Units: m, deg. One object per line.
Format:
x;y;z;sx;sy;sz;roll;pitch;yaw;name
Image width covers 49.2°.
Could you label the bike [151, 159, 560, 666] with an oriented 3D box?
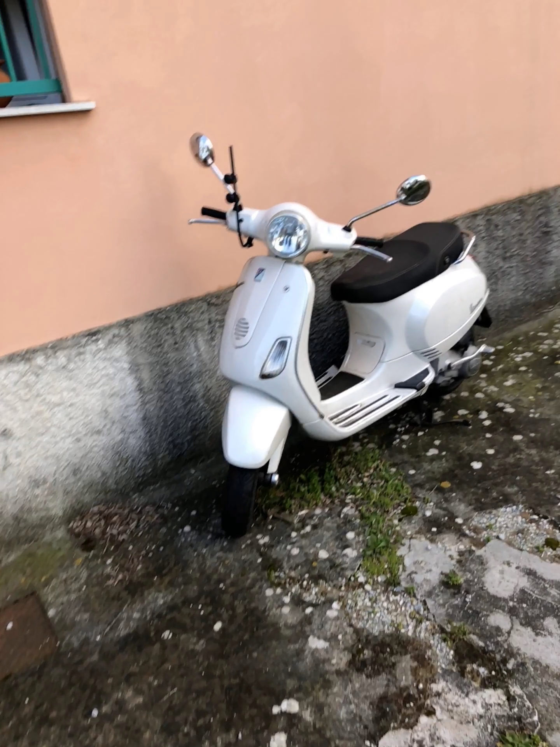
0.425;-0.075;2.330;0.645;1.086;1.662;13;31;43;bike
